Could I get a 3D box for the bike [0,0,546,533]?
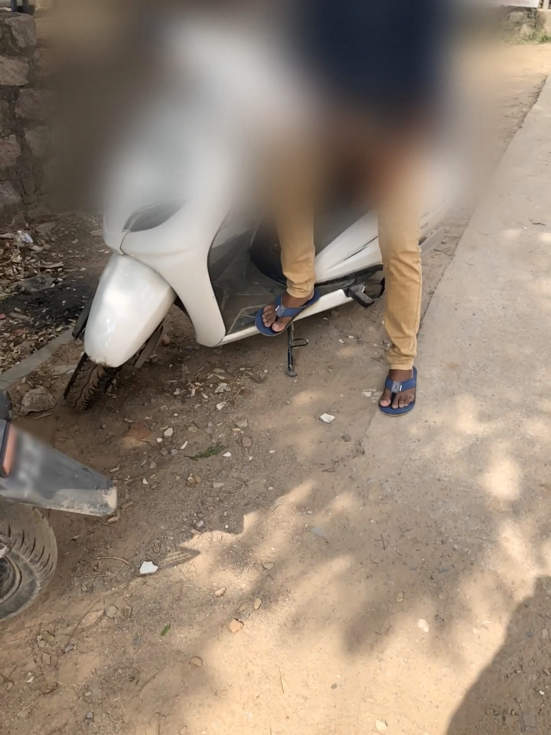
[{"bbox_3d":[0.068,-0.489,1.905,0.622,1.199,1.596,29,44,36],"label":"bike"}]
